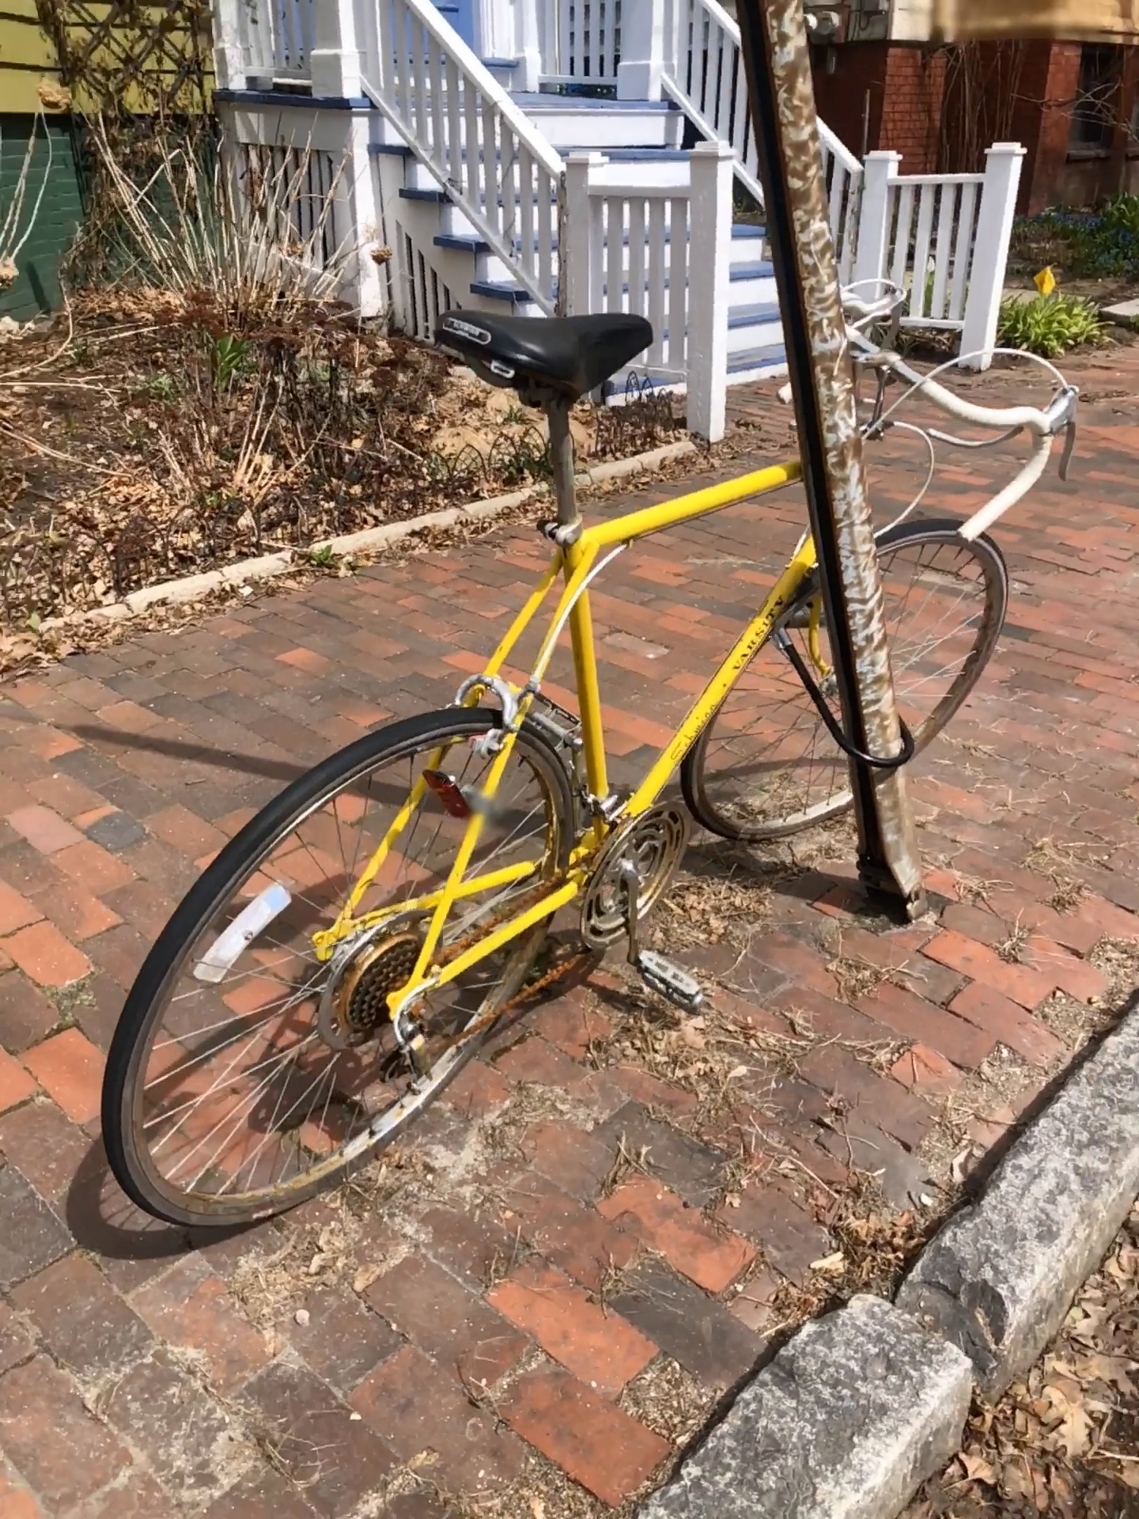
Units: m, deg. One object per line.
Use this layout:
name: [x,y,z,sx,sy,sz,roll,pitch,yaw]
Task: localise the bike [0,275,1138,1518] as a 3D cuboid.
bike: [0.229,-0.025,1.642,1.708,0.855,0.524,-27,37,-36]
